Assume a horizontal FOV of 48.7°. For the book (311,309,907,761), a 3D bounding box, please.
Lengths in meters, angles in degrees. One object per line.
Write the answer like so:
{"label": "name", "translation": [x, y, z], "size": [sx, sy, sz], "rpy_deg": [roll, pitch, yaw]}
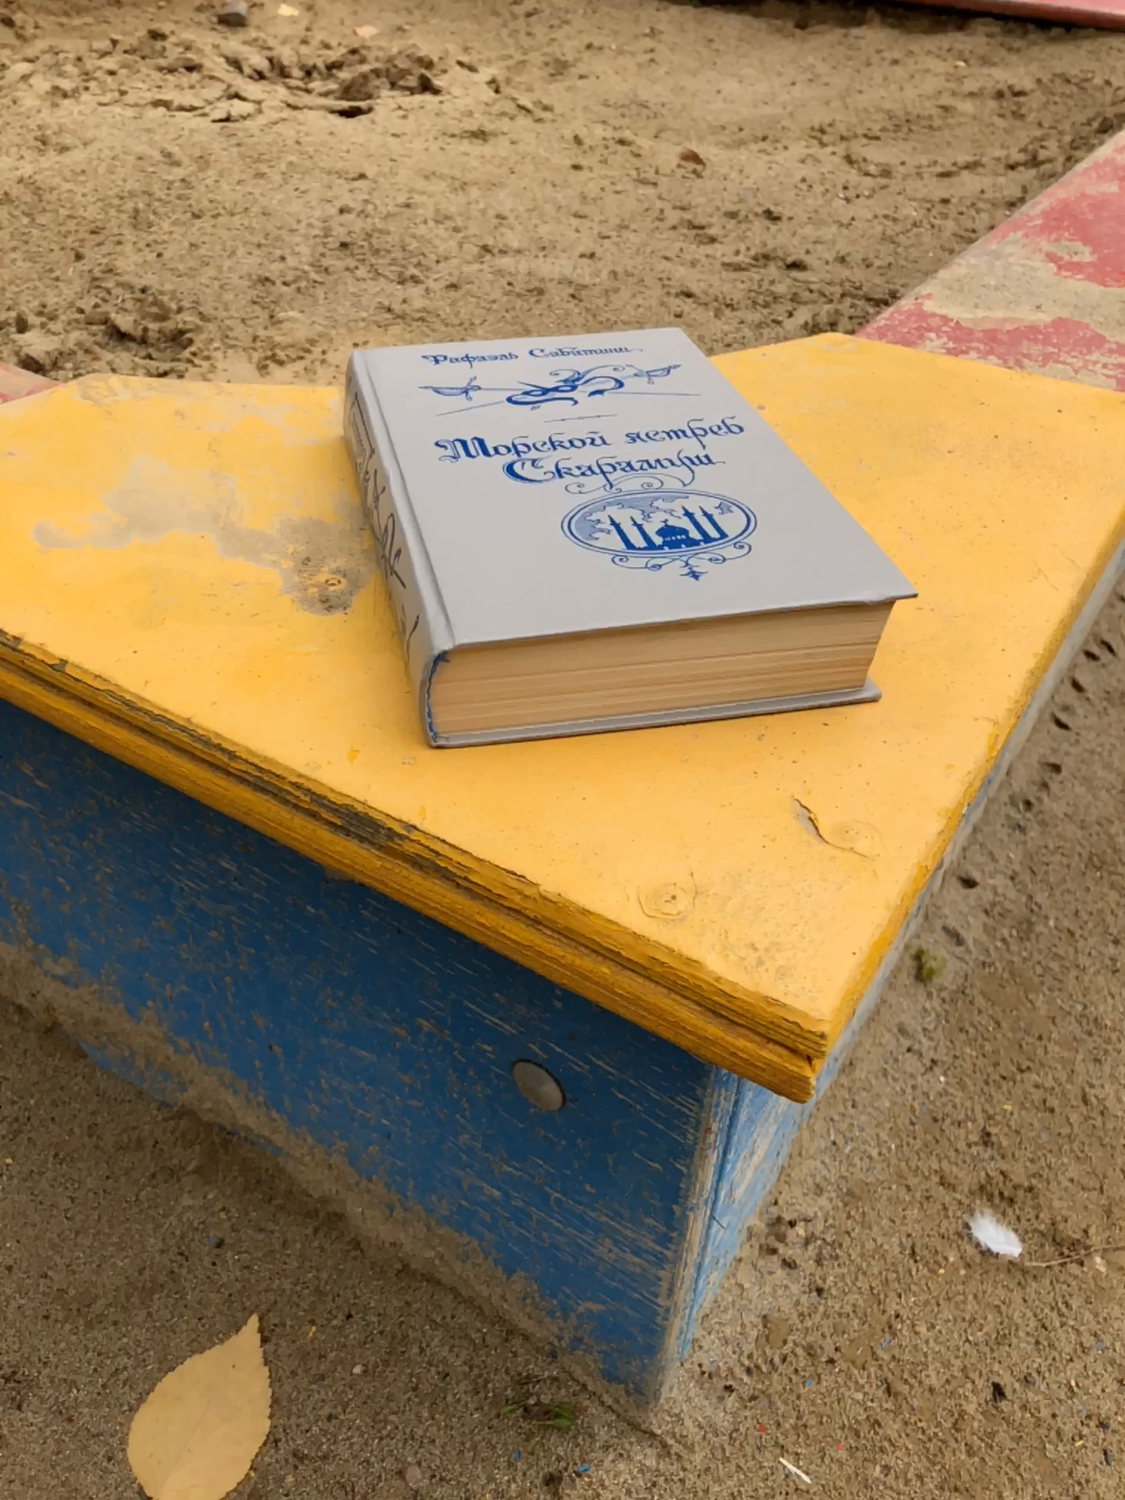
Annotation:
{"label": "book", "translation": [-0.002, -0.085, 0.402], "size": [0.135, 0.037, 0.211], "rpy_deg": [-7, 40, -13]}
